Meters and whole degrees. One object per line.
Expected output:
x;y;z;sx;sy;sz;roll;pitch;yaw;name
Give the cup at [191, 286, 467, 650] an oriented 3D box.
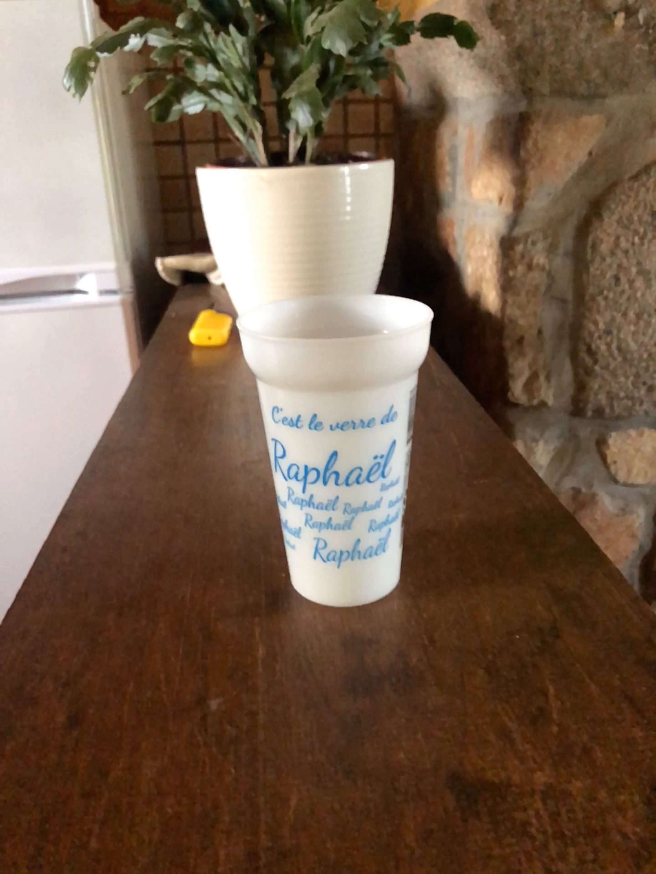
0.005;0.006;0.305;0.080;0.119;0.080;-2;22;1;cup
